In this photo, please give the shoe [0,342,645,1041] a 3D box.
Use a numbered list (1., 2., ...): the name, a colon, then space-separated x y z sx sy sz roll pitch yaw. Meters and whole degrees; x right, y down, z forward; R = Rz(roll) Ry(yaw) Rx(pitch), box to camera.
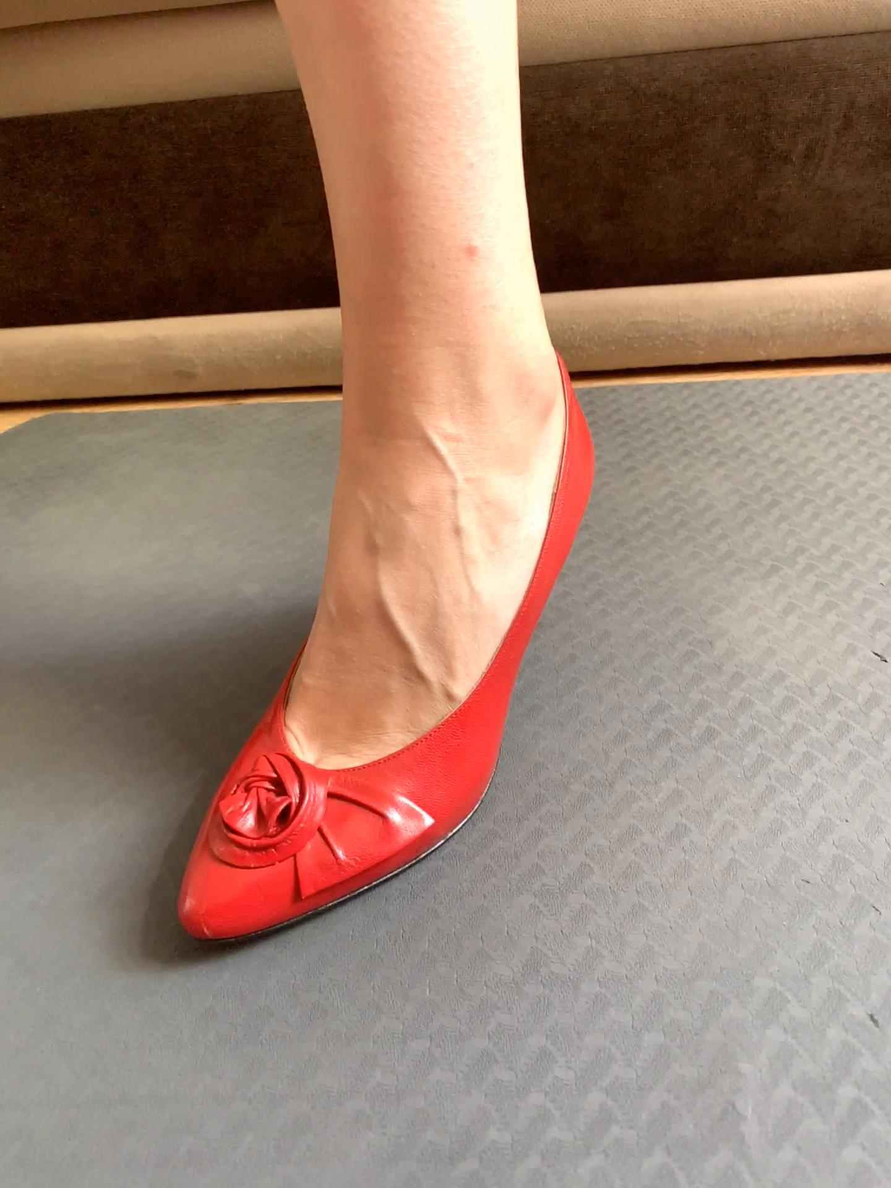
1. shoe: -0.015 0.009 0.304 0.080 0.109 0.211 16 40 29
